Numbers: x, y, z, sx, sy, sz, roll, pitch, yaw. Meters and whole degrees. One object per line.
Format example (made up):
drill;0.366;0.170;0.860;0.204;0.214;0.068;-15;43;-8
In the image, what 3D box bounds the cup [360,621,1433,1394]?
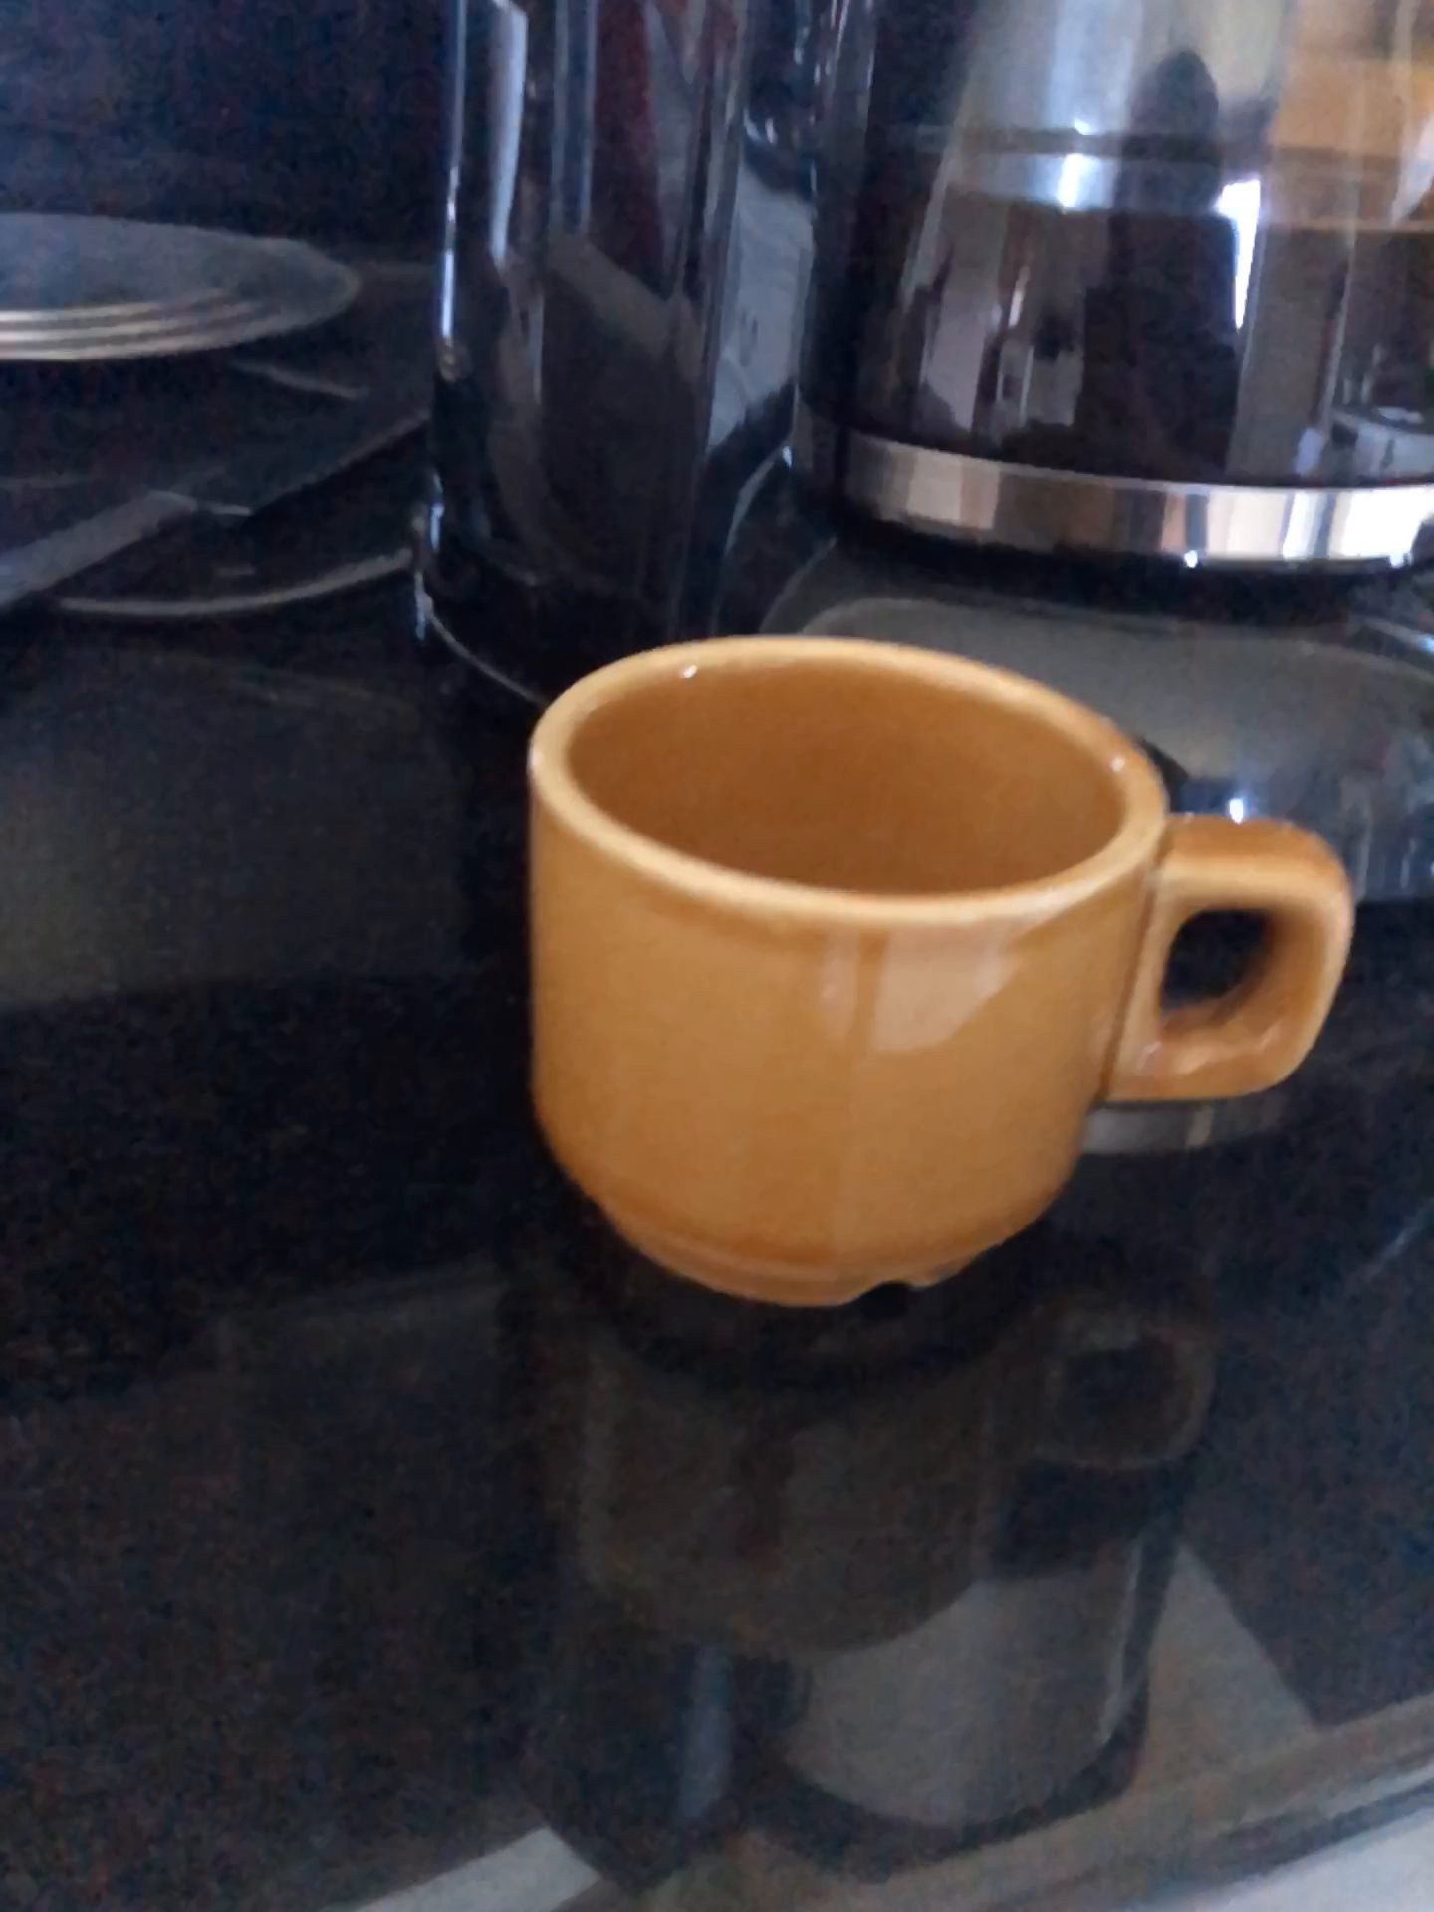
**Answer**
cup;0.020;0.002;0.176;0.100;0.050;0.070;3;31;-1
